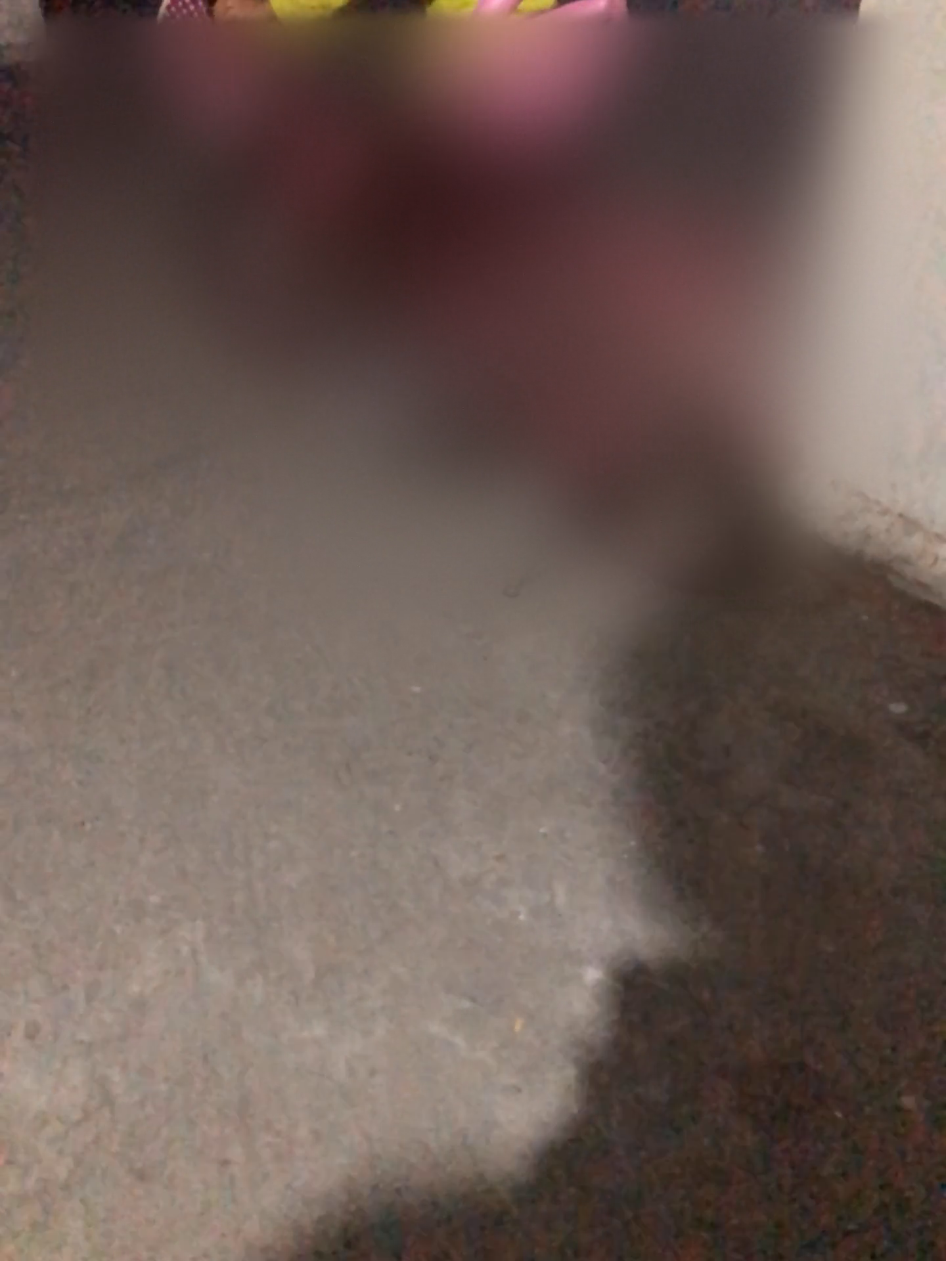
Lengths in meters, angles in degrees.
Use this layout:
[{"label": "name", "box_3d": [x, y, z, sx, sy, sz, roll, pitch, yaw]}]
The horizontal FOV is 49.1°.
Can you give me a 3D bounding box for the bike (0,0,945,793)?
[{"label": "bike", "box_3d": [-0.194, -0.558, 1.451, 0.496, 0.910, 1.279, -32, 50, -32]}]
